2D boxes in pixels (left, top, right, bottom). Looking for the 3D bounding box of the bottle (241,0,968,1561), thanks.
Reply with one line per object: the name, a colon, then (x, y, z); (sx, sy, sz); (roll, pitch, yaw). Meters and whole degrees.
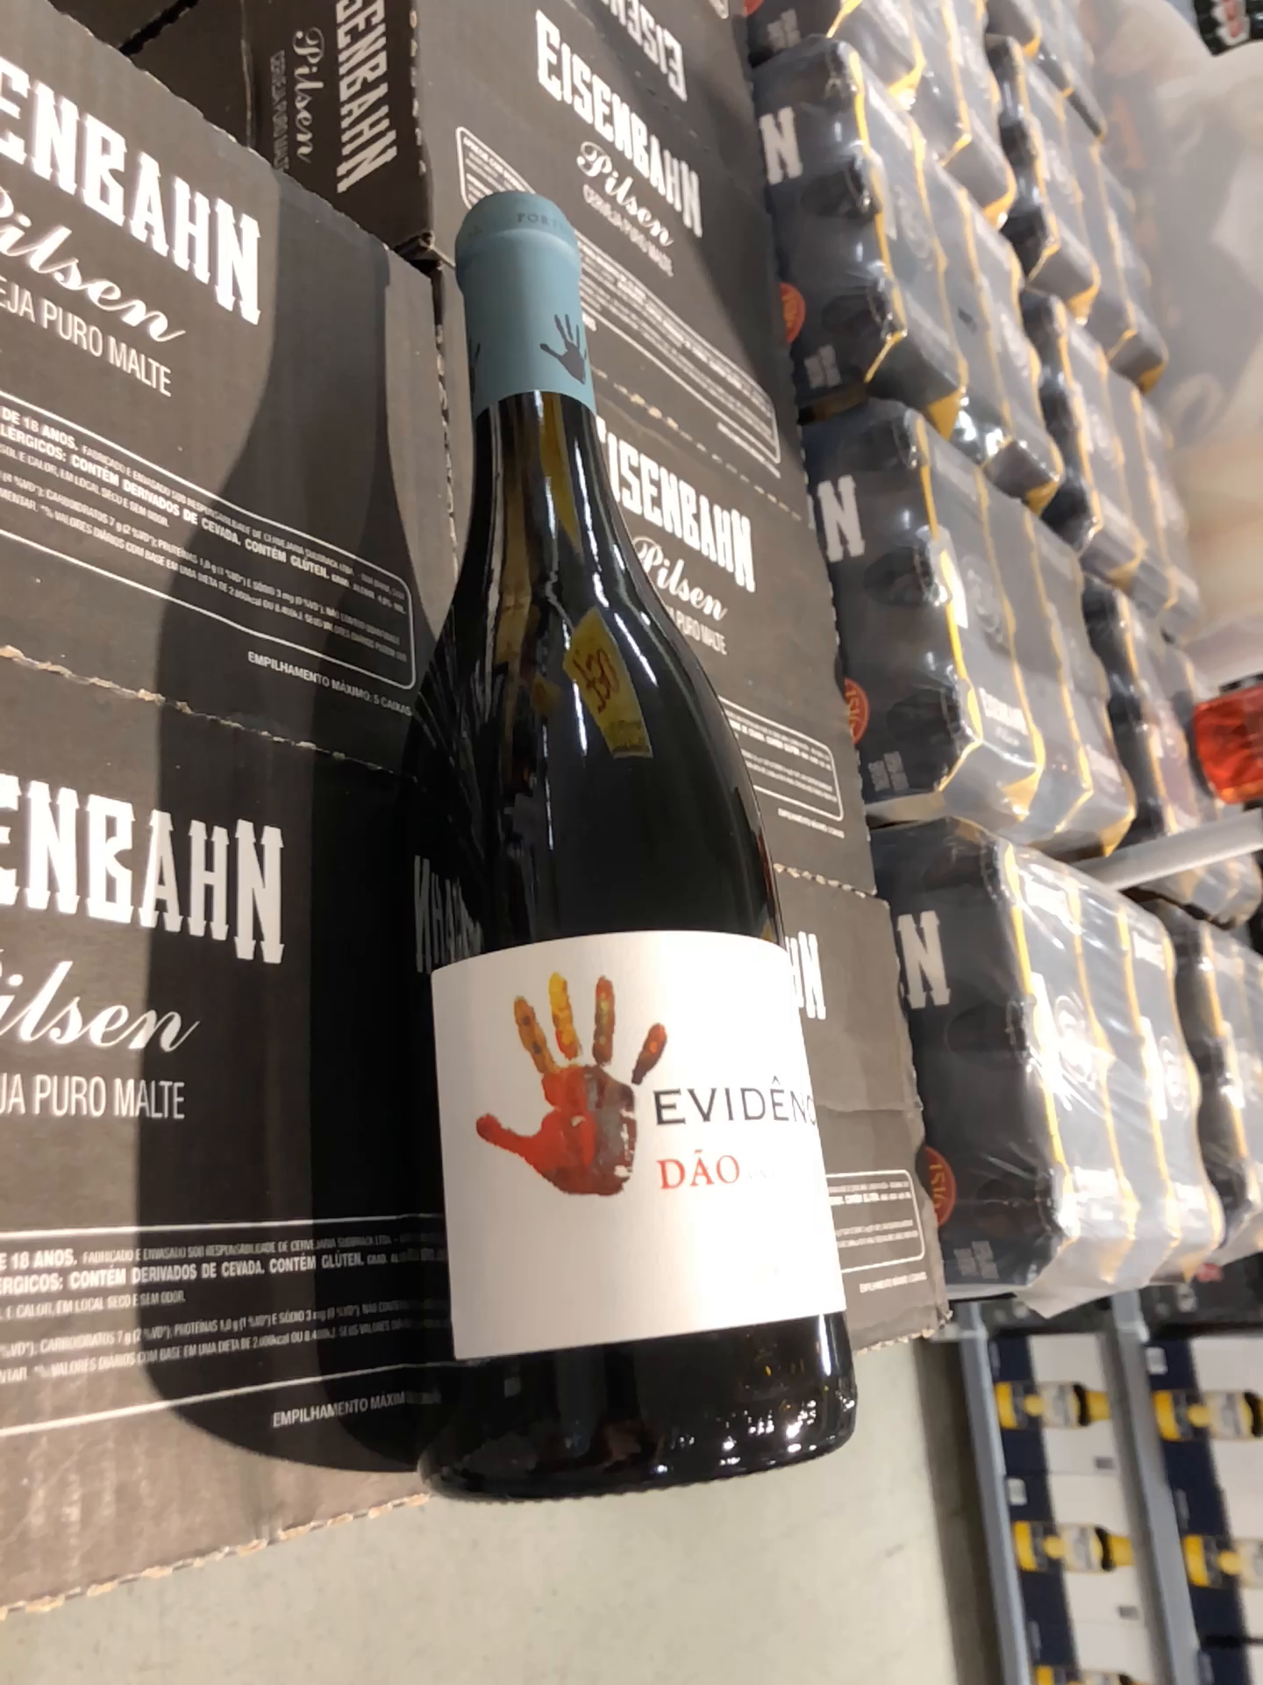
bottle: (-0.013, -0.042, 0.300); (0.101, 0.089, 0.330); (17, 64, -52)
